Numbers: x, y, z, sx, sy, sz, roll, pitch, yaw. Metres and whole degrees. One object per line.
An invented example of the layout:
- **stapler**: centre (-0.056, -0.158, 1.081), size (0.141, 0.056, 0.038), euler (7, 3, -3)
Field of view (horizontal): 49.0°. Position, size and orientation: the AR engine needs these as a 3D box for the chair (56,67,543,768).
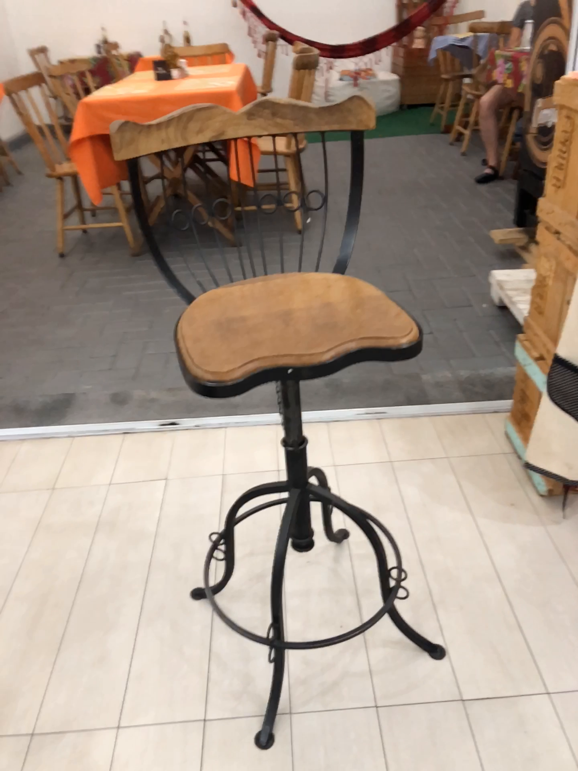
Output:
- **chair**: centre (-0.009, 0.030, 0.992), size (0.460, 0.893, 0.473), euler (-13, 31, -15)
